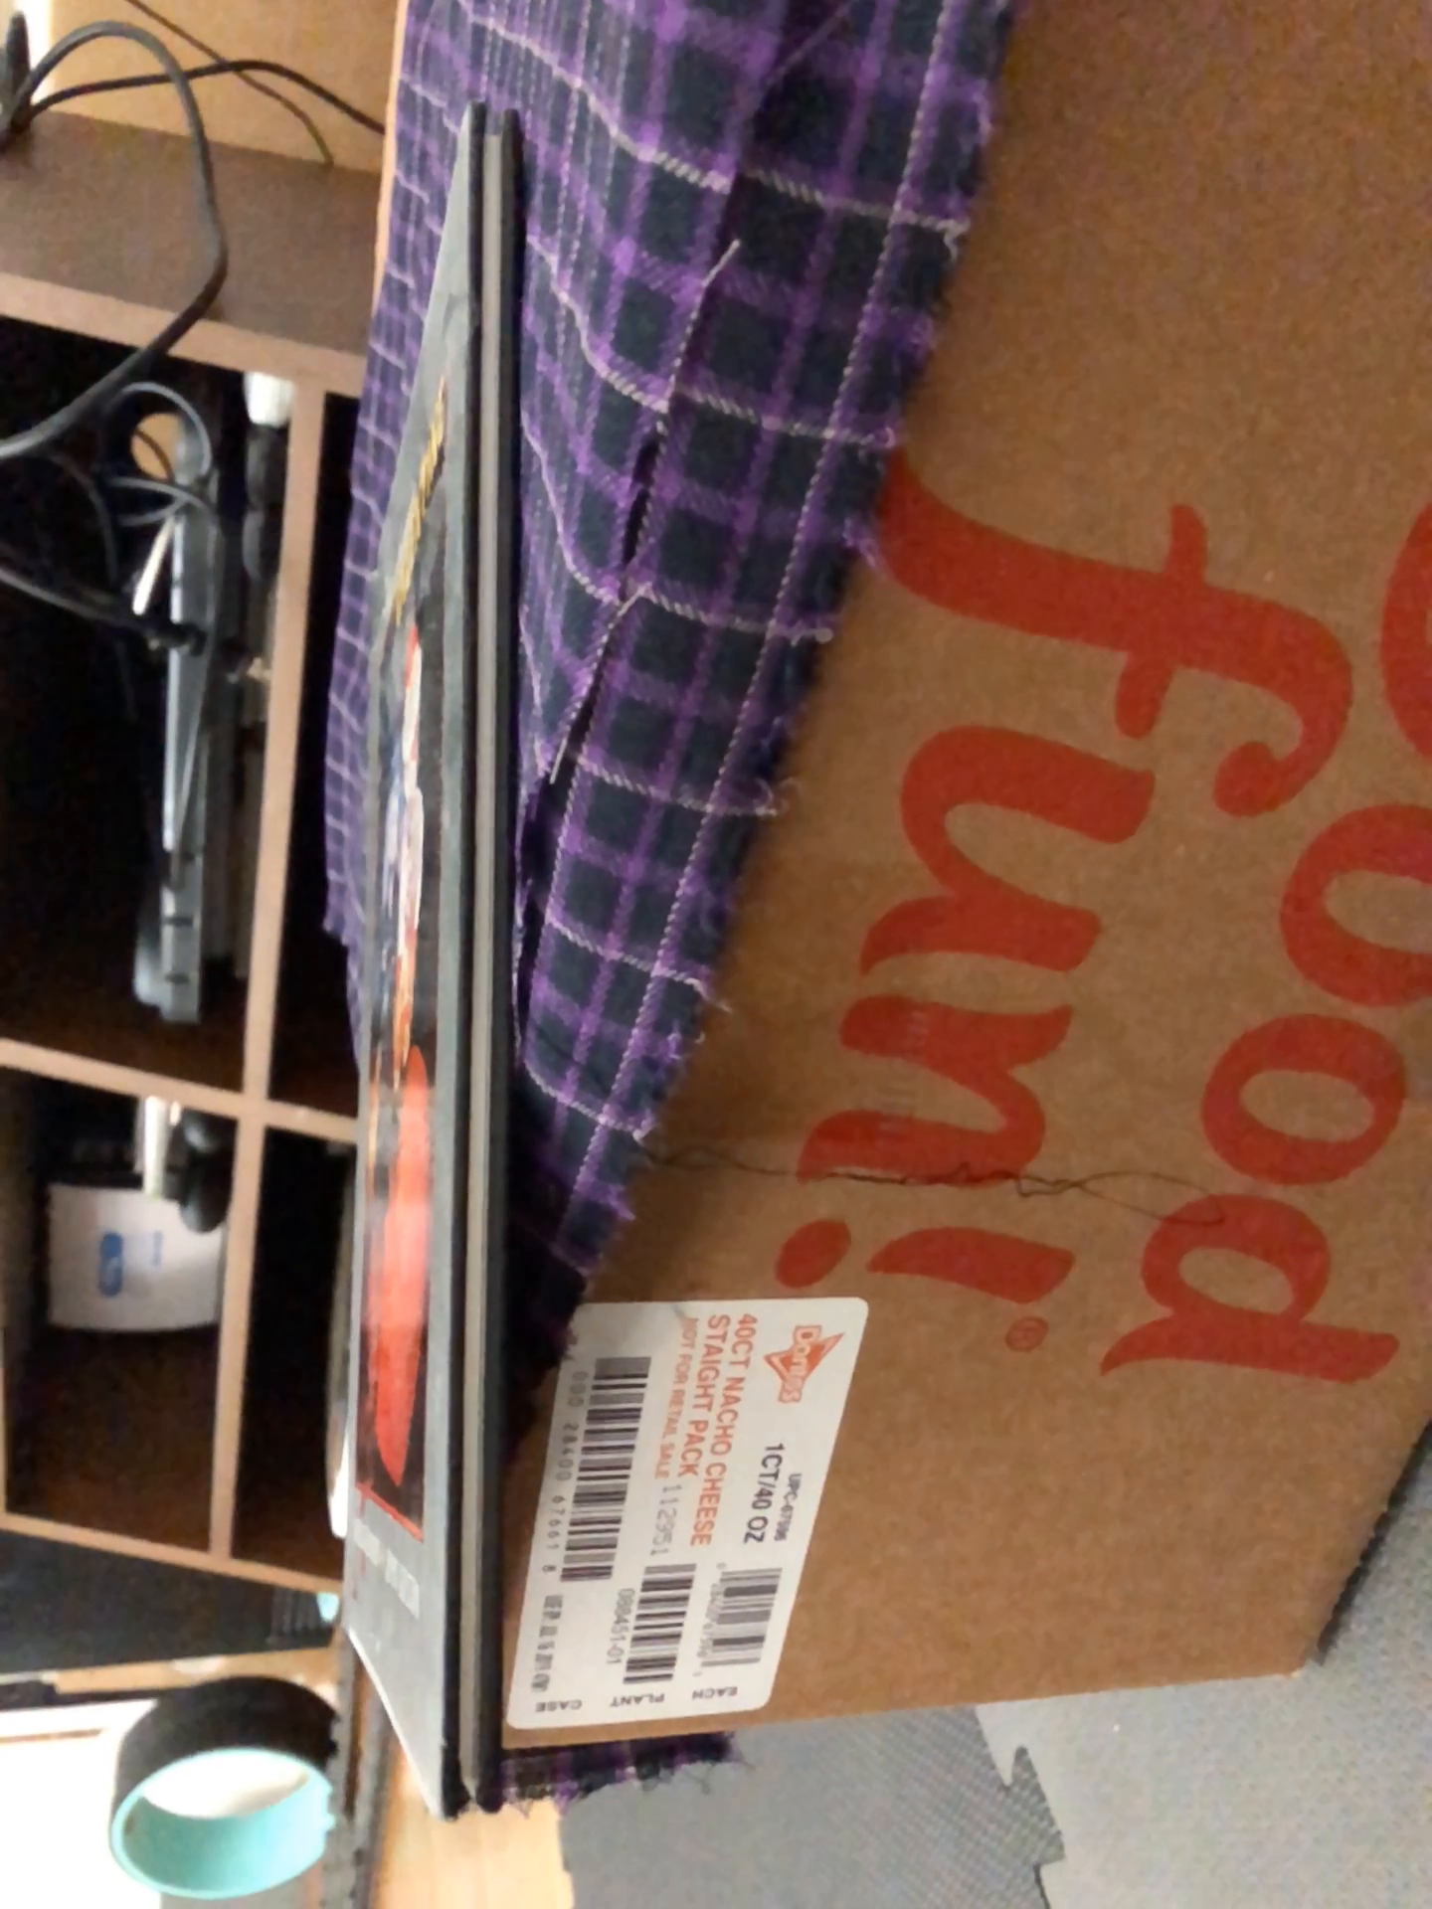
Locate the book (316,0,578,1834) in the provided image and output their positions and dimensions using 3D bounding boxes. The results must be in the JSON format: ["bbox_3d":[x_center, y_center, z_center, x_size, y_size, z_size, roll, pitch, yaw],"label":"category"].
[{"bbox_3d":[-0.057,-0.006,0.313,0.180,0.020,0.280,139,132,-67],"label":"book"}]
